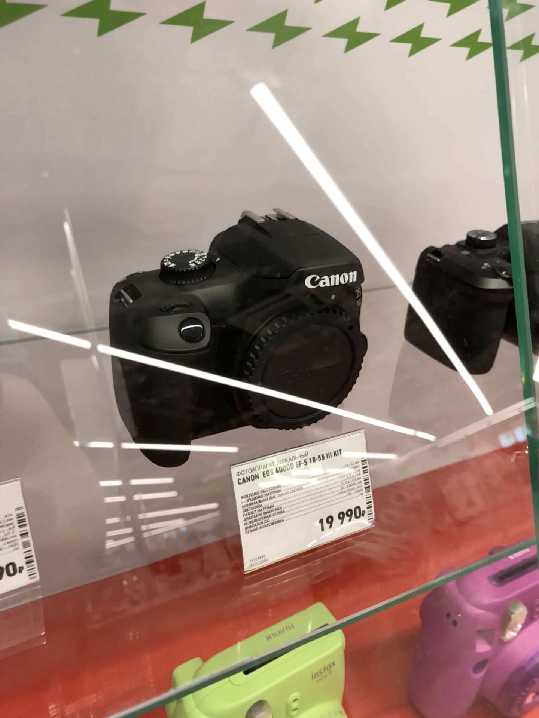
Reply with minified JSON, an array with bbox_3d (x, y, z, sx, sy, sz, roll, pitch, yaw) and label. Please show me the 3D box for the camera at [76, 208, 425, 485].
[{"bbox_3d":[-0.014,-0.018,0.306,0.136,0.083,0.100,-12,33,-28],"label":"camera"}]
